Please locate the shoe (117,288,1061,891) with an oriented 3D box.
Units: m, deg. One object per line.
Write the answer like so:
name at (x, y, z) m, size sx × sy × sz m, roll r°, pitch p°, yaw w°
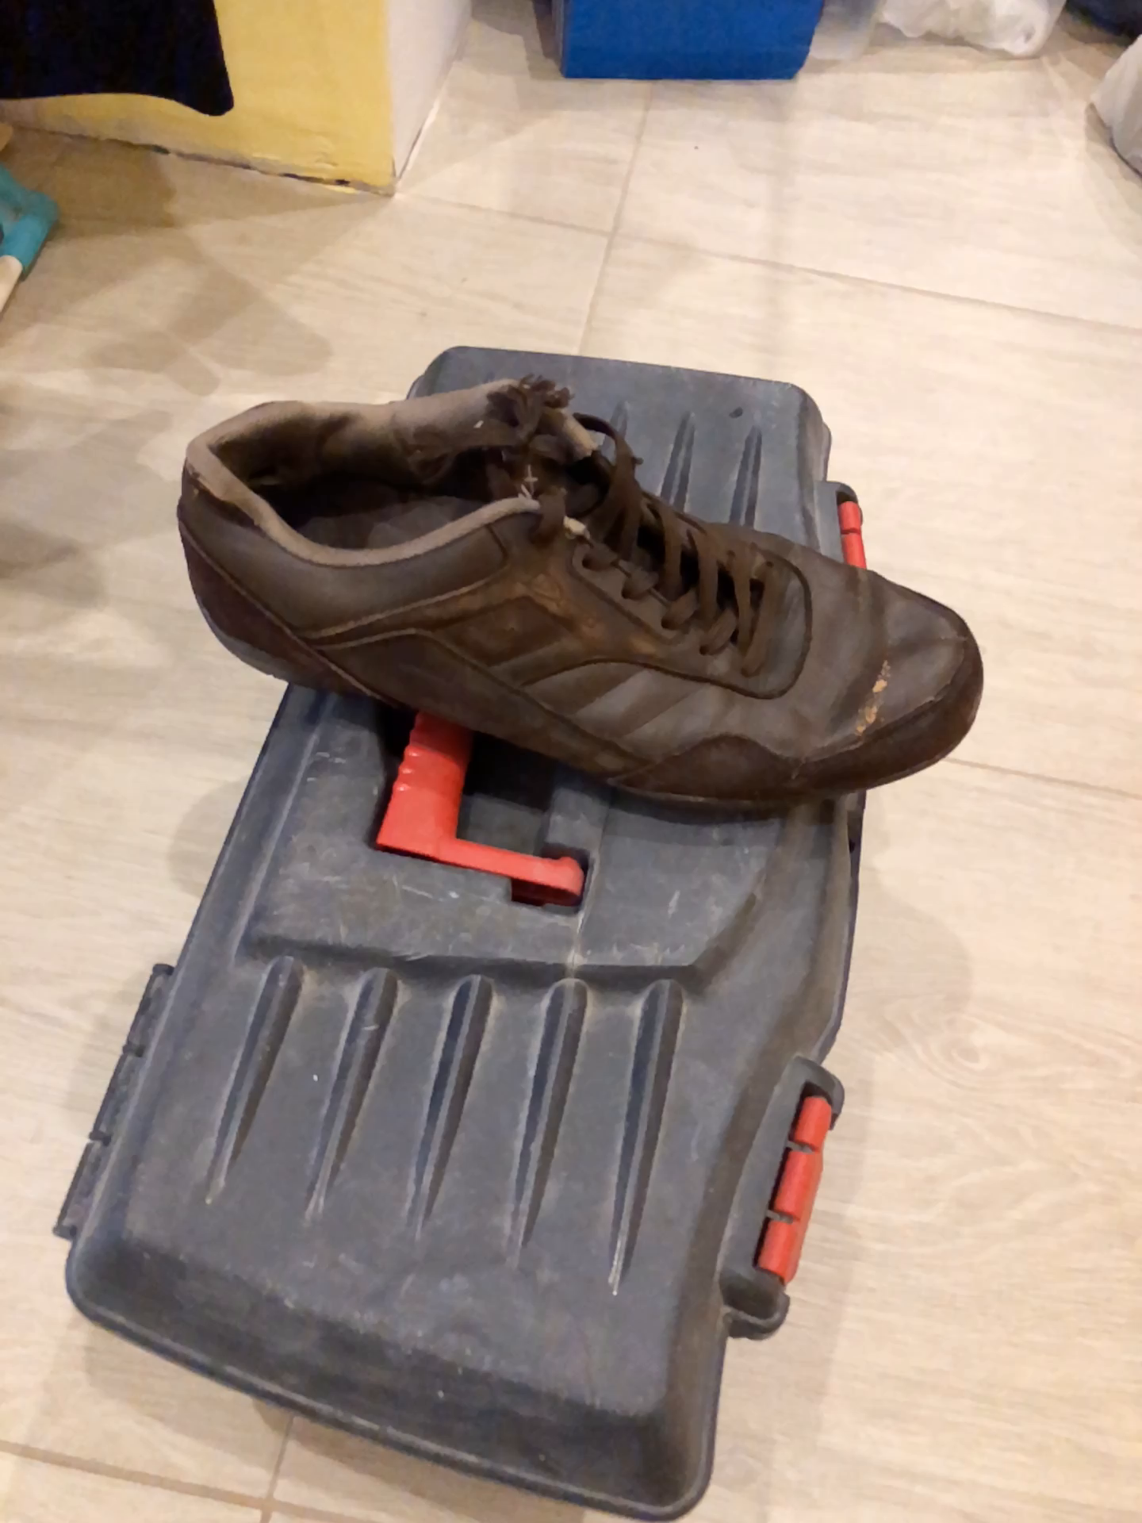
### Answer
shoe at (0.010, -0.059, 0.435) m, size 0.280 × 0.099 × 0.111 m, roll 14°, pitch 57°, yaw 3°
